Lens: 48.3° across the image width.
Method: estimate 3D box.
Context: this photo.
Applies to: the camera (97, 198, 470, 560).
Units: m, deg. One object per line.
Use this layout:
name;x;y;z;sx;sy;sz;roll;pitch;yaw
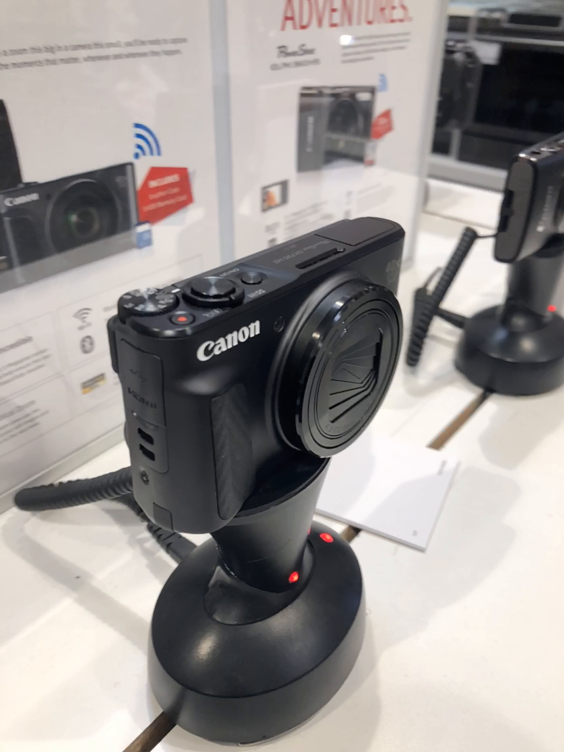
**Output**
camera;0.007;-0.008;0.189;0.040;0.060;0.110;26;40;34
